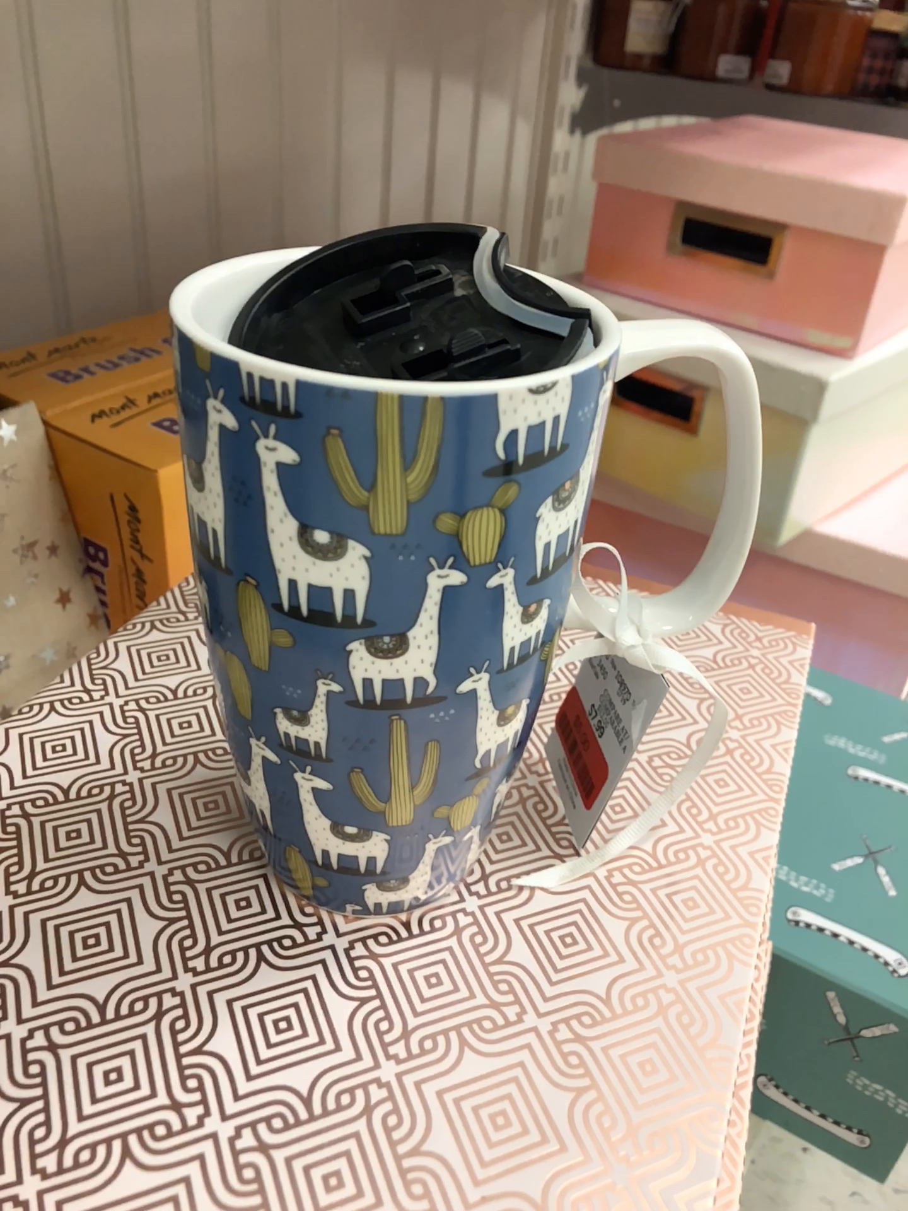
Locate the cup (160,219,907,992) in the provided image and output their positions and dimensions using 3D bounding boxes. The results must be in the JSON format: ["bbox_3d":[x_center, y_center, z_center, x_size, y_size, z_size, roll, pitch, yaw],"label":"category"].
[{"bbox_3d":[0.005,-0.006,0.232,0.125,0.138,0.090,-5,34,-16],"label":"cup"}]
